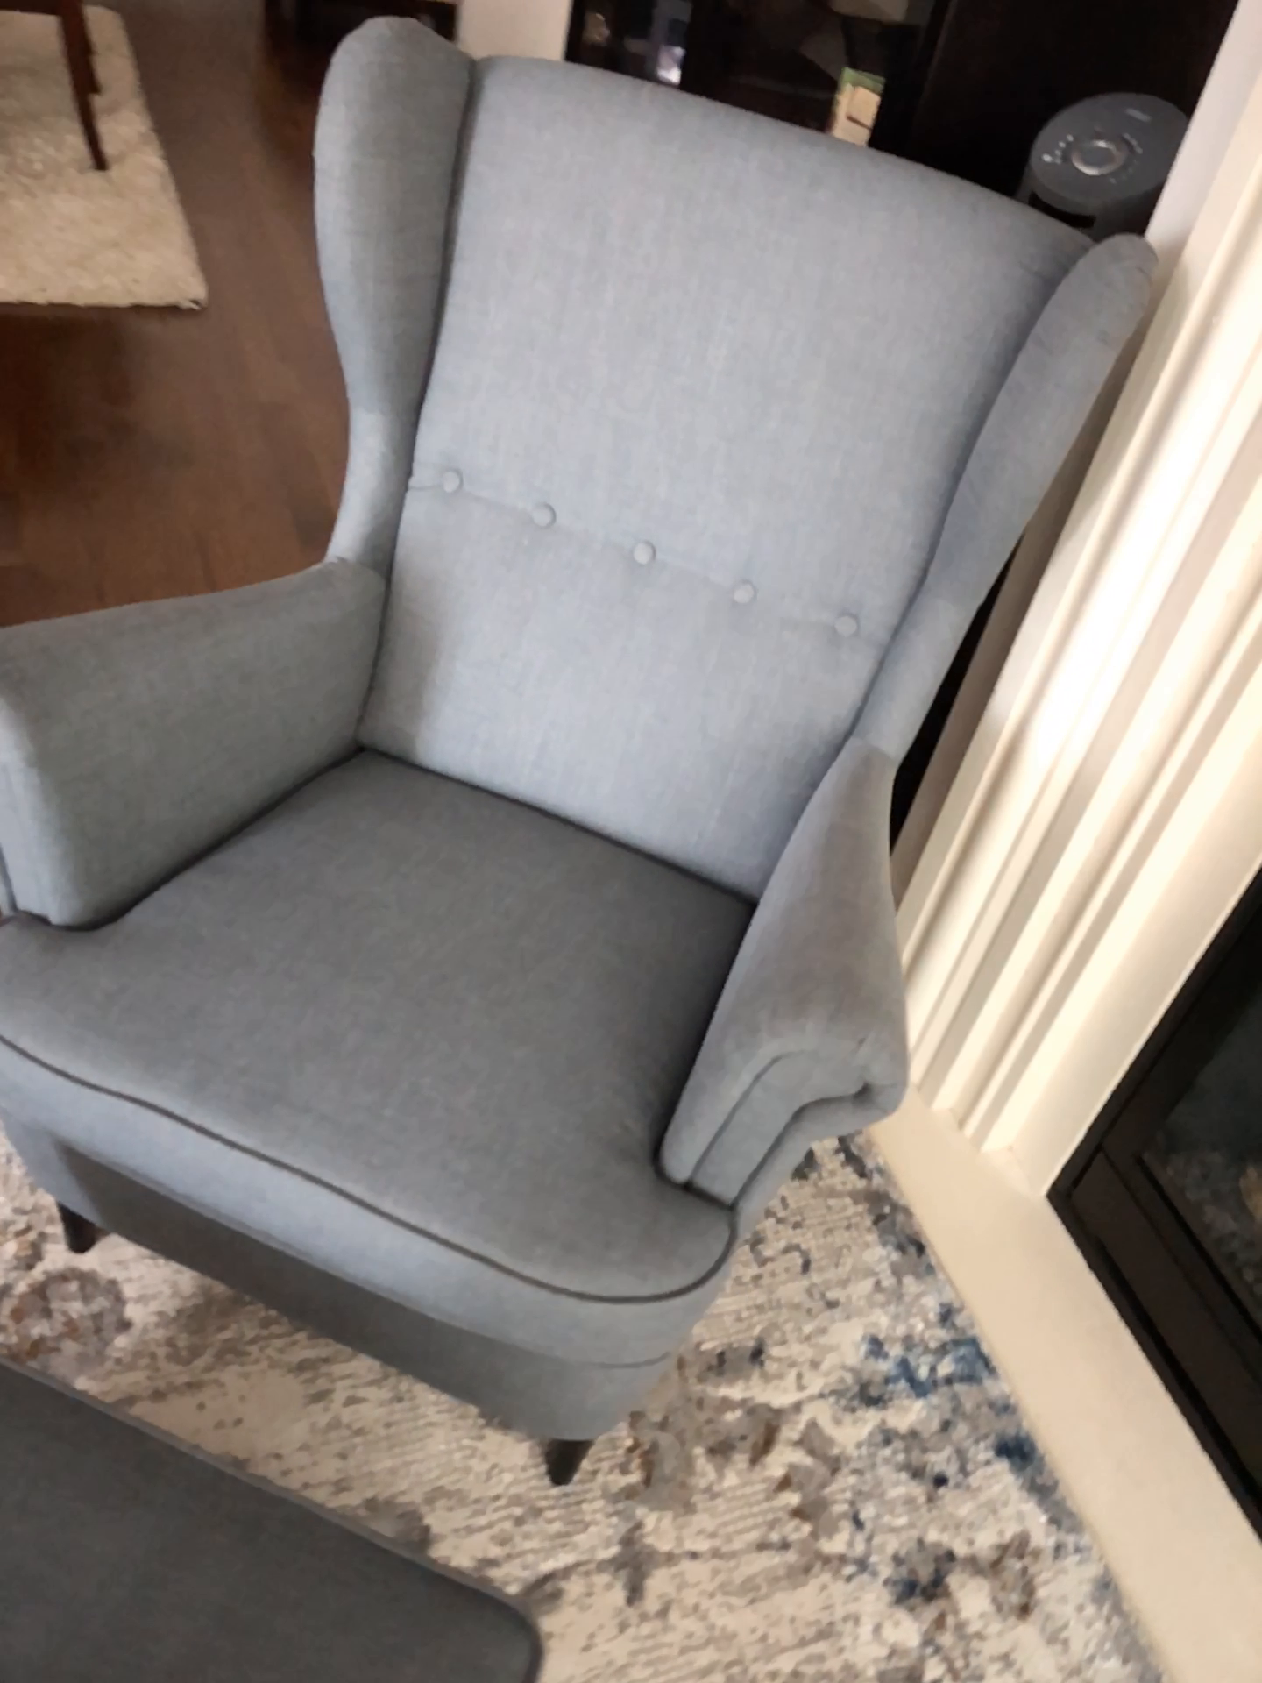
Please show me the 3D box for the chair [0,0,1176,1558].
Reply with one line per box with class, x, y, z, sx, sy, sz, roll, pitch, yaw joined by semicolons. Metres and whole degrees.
chair;-0.122;-0.122;1.257;0.800;0.966;0.853;21;41;8
